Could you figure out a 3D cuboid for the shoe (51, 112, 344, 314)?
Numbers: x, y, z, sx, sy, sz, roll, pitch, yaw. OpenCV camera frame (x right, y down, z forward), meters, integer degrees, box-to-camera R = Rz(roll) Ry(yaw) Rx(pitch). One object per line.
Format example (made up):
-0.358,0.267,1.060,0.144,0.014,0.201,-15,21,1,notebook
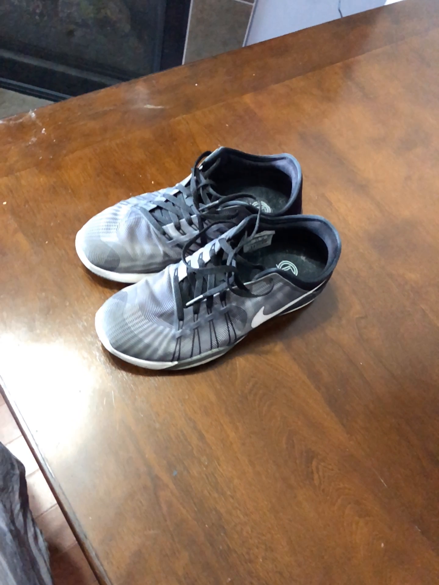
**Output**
-0.020,-0.078,0.452,0.230,0.090,0.100,-19,68,-20,shoe

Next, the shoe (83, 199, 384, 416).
0.011,0.008,0.431,0.230,0.080,0.100,-19,68,-20,shoe
